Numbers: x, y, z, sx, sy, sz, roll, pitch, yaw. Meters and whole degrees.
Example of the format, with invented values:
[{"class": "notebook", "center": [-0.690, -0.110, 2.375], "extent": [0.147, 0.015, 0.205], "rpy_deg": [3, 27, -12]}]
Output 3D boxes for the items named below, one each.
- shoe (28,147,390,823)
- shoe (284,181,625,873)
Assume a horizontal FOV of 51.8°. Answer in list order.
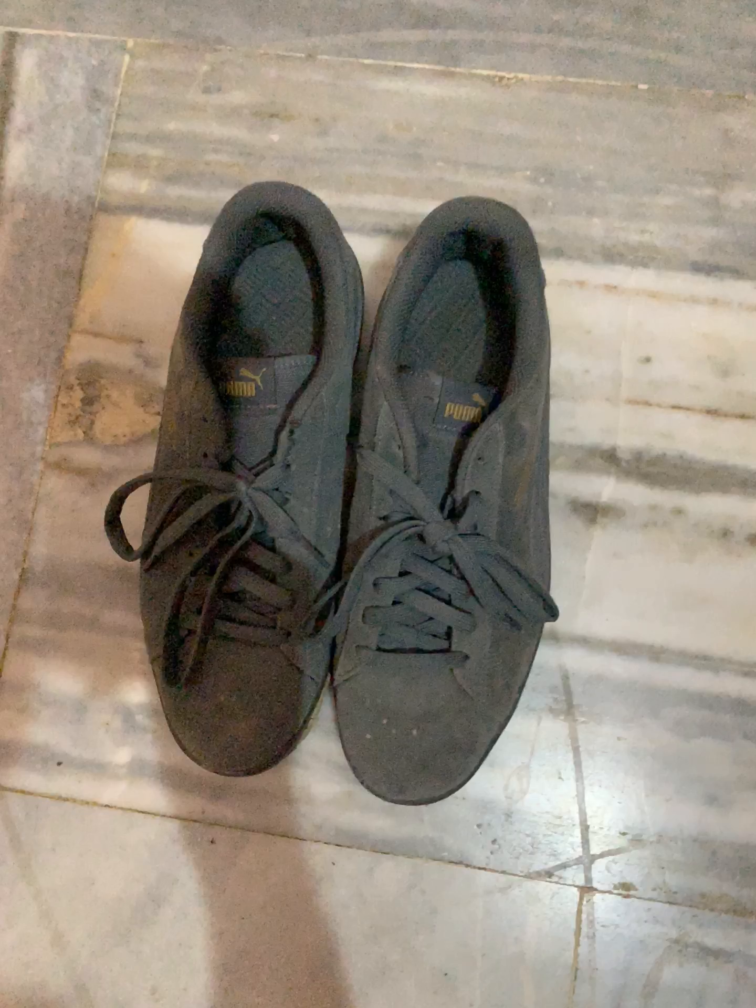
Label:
[{"class": "shoe", "center": [-0.071, -0.011, 0.393], "extent": [0.110, 0.100, 0.290], "rpy_deg": [8, 83, 4]}, {"class": "shoe", "center": [0.038, 0.007, 0.388], "extent": [0.110, 0.100, 0.290], "rpy_deg": [8, 83, 4]}]
